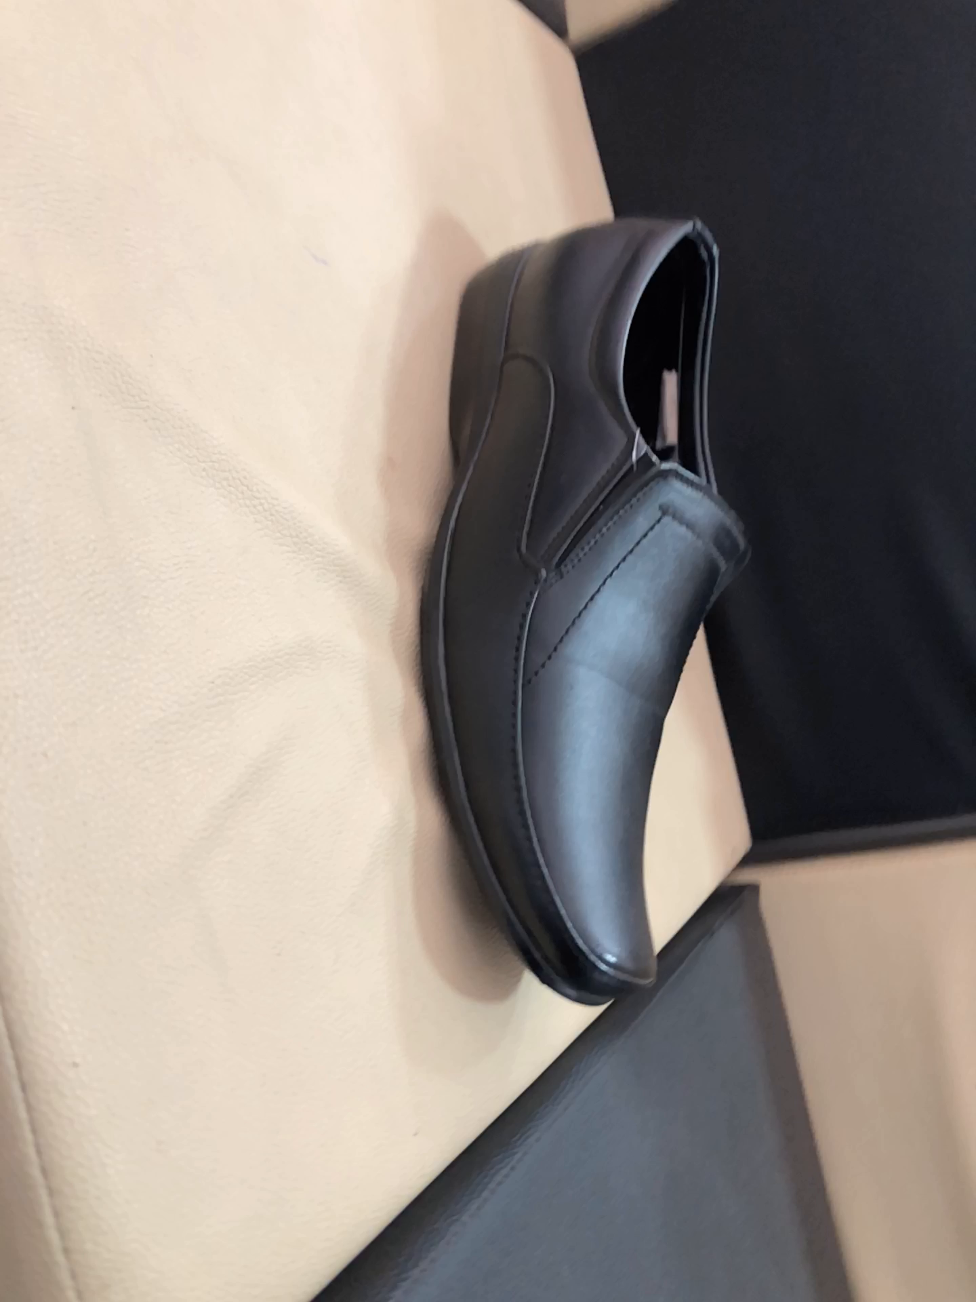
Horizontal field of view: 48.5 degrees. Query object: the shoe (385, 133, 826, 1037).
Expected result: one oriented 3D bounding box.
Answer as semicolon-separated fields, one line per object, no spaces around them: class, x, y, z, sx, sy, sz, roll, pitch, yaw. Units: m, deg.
shoe;0.041;-0.020;0.385;0.101;0.099;0.290;33;52;-52
